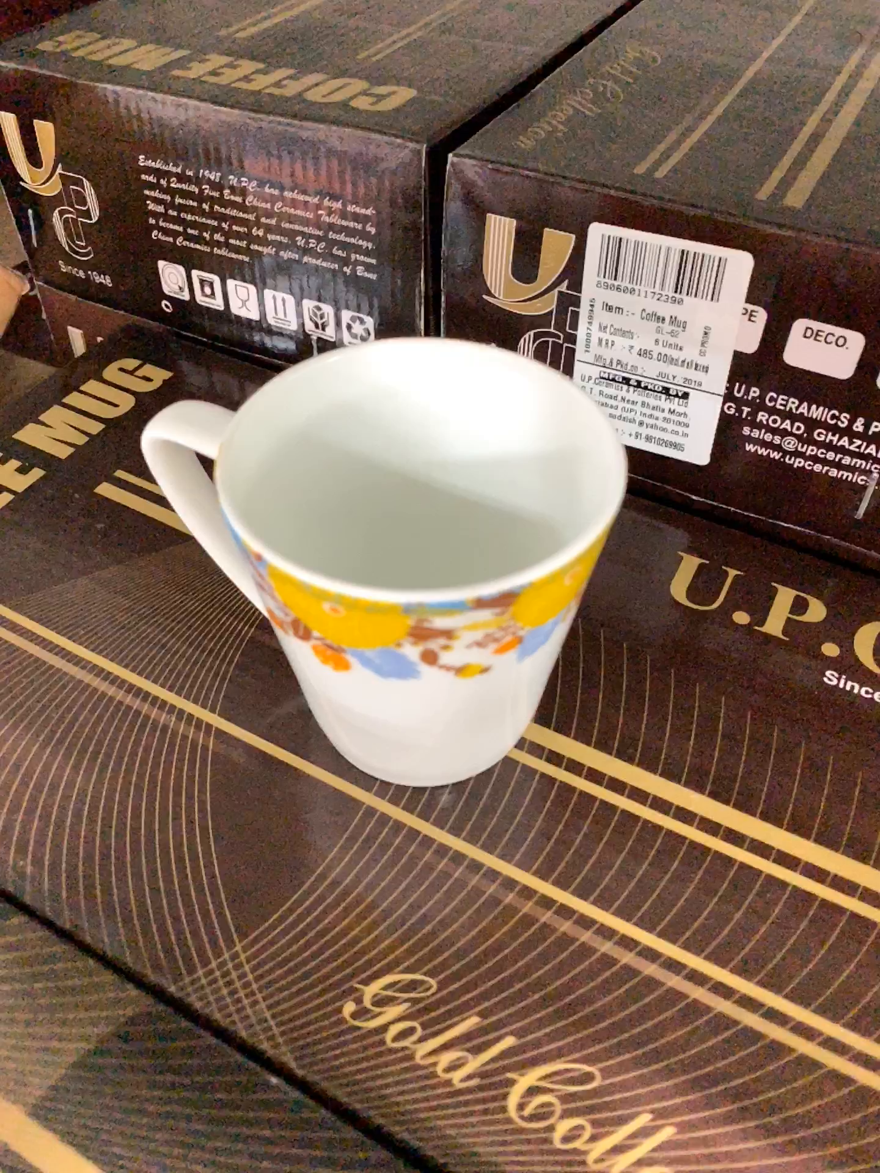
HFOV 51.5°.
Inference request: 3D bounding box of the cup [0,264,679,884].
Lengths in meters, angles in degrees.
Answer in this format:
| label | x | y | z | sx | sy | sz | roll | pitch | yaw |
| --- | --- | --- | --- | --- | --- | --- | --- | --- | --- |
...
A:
| label | x | y | z | sx | sy | sz | roll | pitch | yaw |
| --- | --- | --- | --- | --- | --- | --- | --- | --- | --- |
| cup | -0.017 | -0.007 | 0.170 | 0.092 | 0.058 | 0.068 | 23 | 51 | 20 |
